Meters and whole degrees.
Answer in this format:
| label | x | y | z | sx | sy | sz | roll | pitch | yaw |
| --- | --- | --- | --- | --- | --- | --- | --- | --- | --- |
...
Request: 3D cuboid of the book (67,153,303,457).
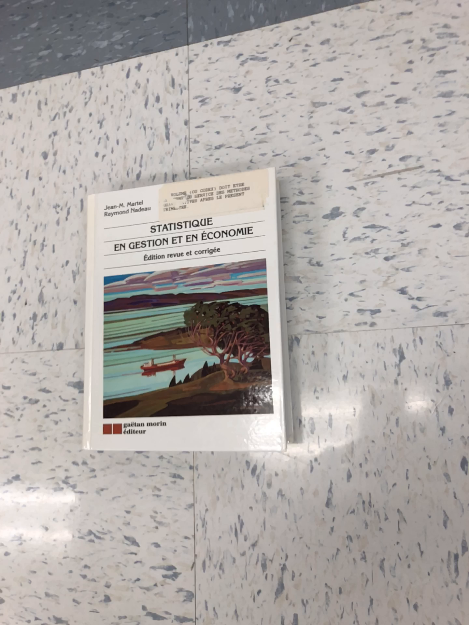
| label | x | y | z | sx | sy | sz | roll | pitch | yaw |
| --- | --- | --- | --- | --- | --- | --- | --- | --- | --- |
| book | -0.045 | 0.000 | 0.459 | 0.190 | 0.060 | 0.240 | -5 | 80 | 17 |
